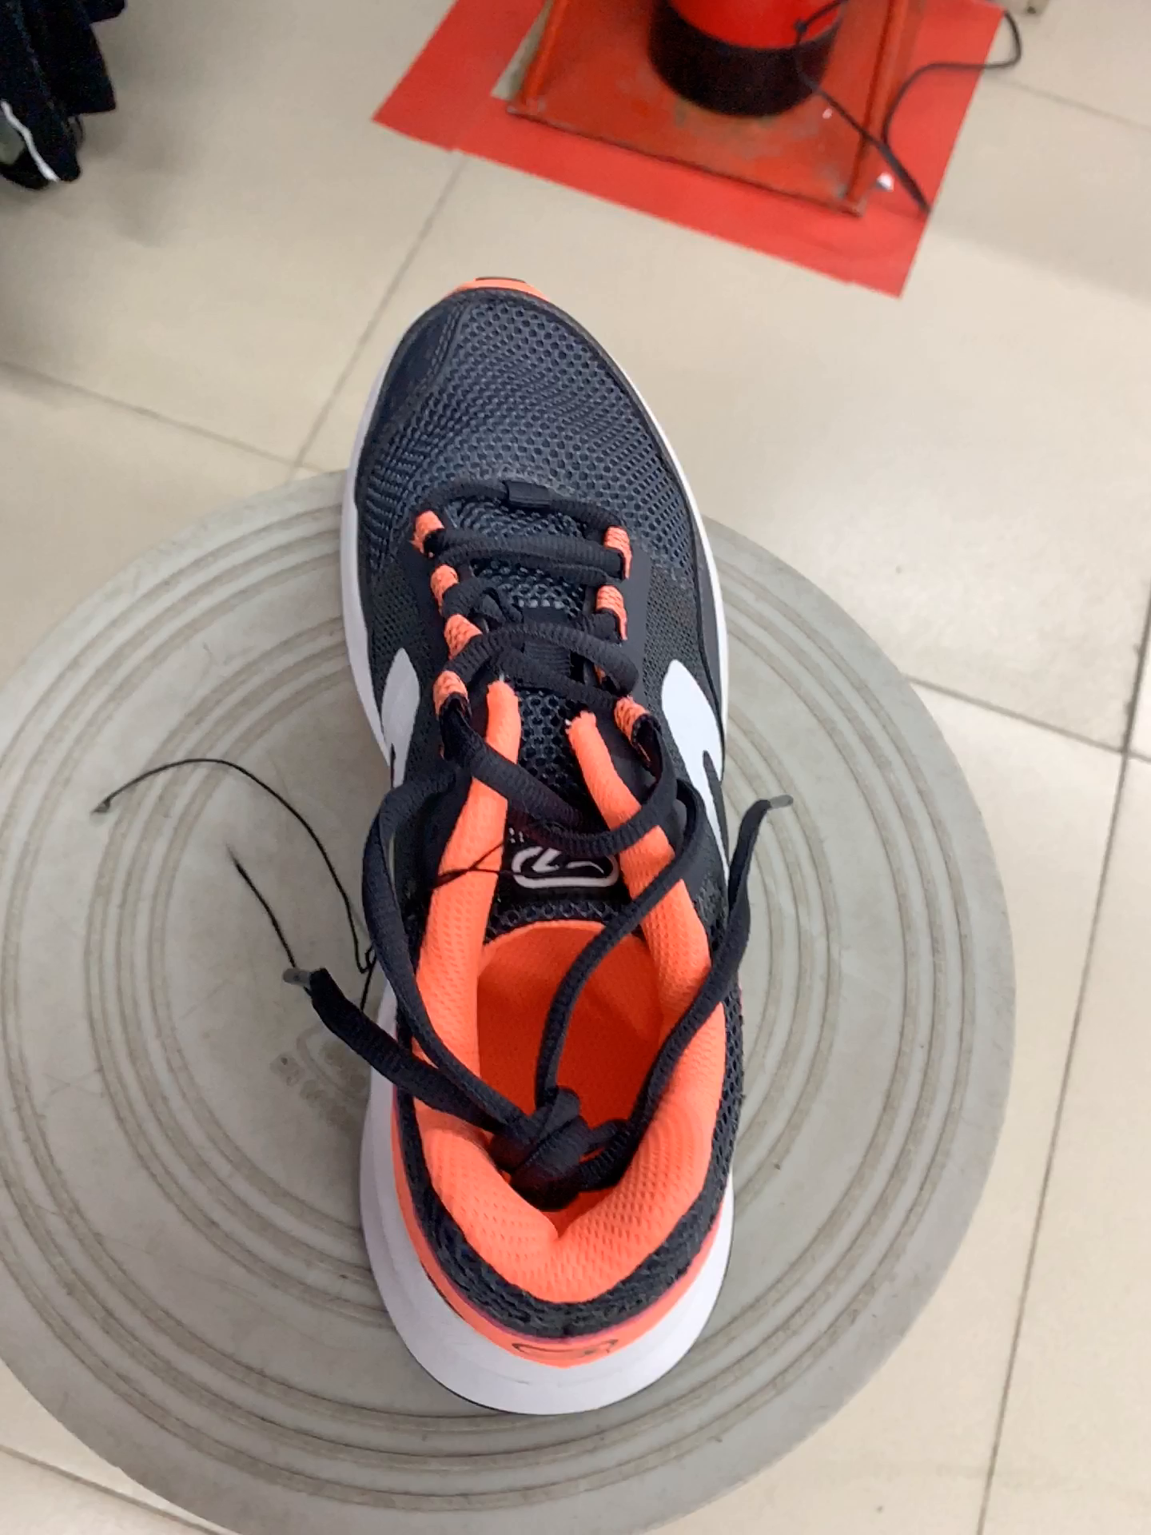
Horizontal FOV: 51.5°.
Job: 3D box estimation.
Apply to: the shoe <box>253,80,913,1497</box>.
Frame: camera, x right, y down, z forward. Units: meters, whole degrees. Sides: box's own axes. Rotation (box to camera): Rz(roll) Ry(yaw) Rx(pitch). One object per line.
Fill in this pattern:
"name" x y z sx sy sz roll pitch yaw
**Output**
"shoe" -0.009 -0.006 0.289 0.100 0.120 0.290 -1 68 -5
